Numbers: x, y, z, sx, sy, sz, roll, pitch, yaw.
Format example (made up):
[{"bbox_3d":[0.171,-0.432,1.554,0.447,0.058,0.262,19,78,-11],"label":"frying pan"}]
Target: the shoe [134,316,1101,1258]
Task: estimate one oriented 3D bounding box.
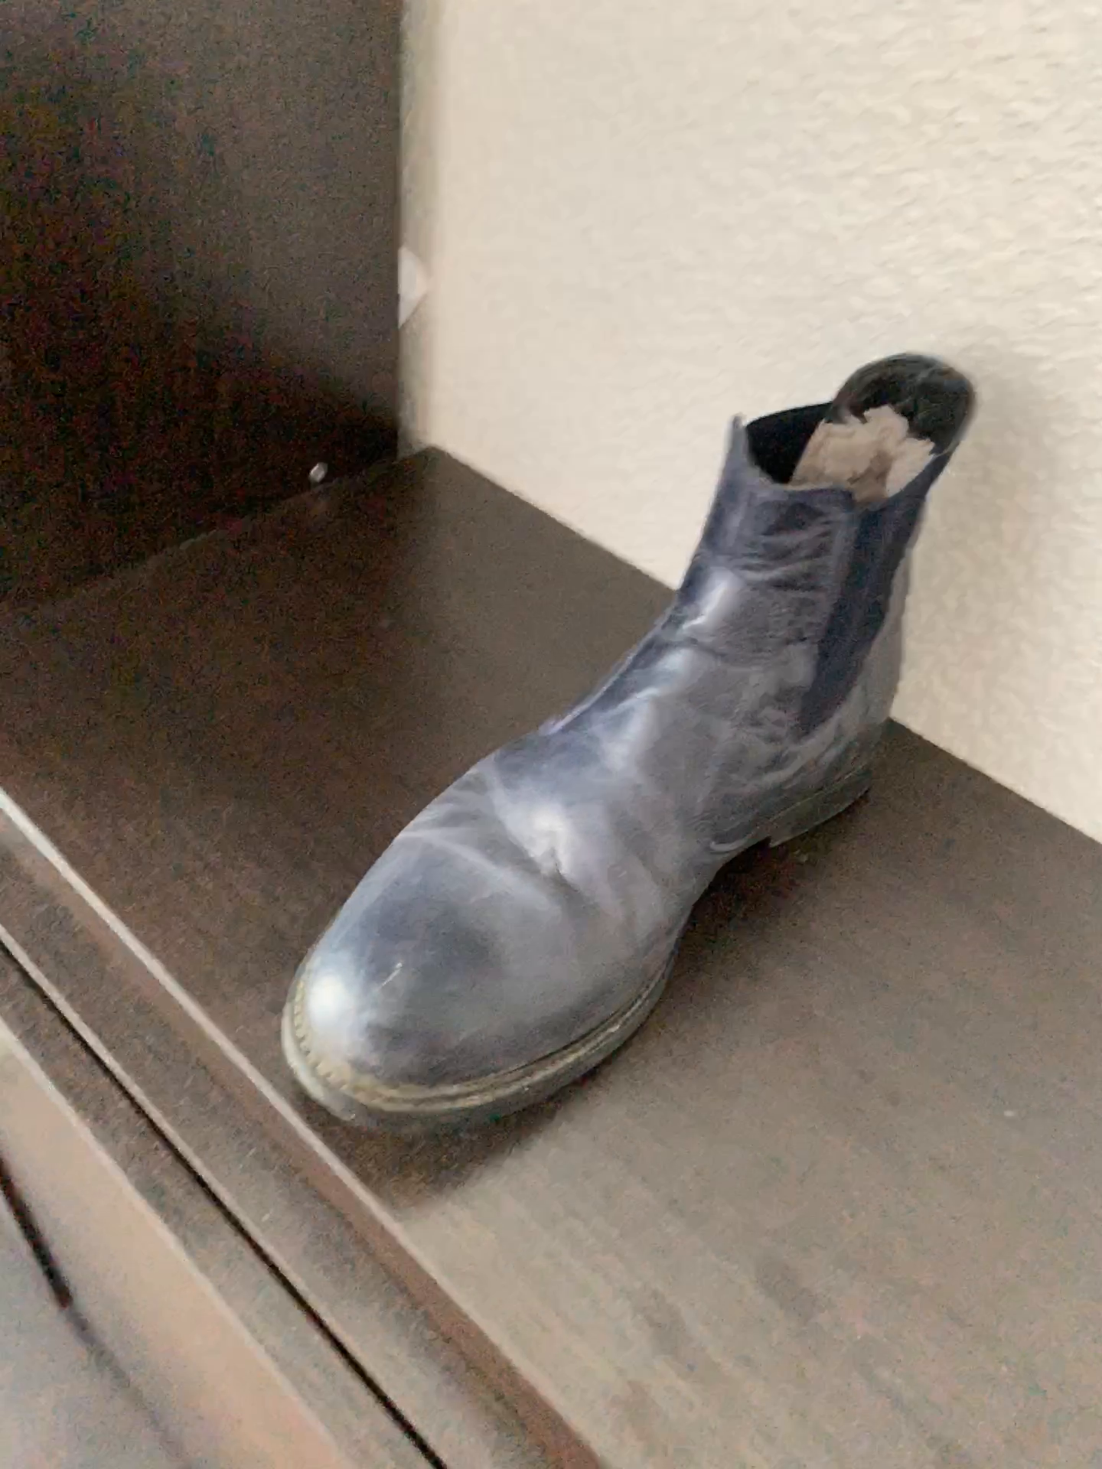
[{"bbox_3d":[0.039,-0.005,0.378,0.110,0.159,0.301,37,51,27],"label":"shoe"}]
